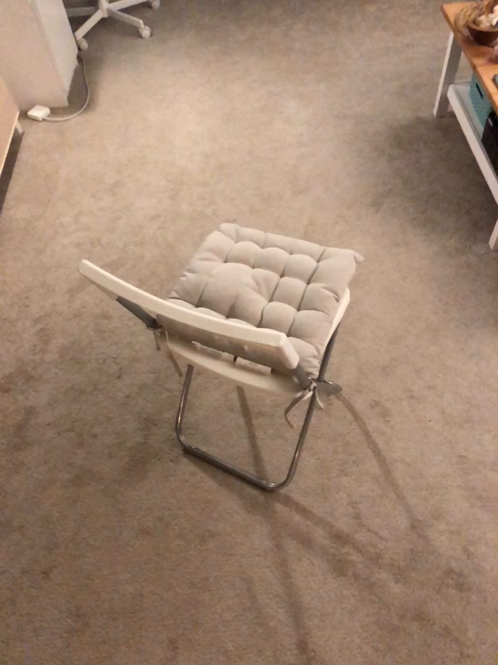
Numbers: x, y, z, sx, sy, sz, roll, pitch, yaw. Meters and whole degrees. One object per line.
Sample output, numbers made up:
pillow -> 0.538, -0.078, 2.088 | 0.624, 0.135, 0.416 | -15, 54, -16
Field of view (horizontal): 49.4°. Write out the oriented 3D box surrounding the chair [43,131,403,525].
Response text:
chair -> -0.007, 0.007, 1.323 | 0.510, 0.667, 0.542 | 20, 58, 19
